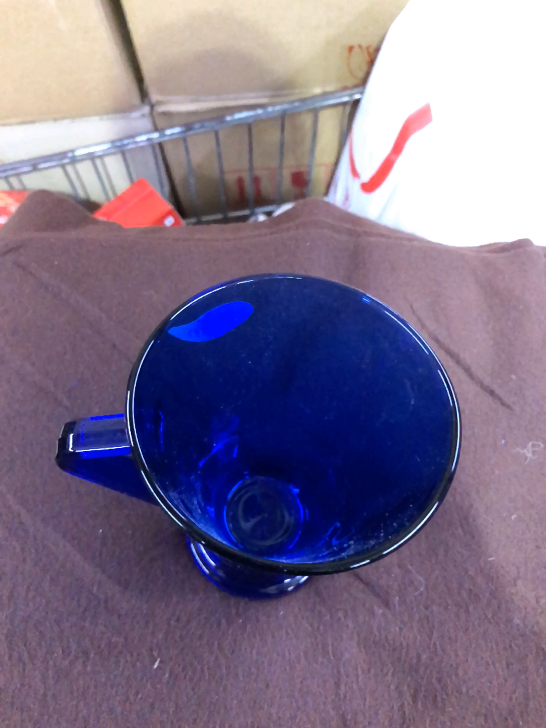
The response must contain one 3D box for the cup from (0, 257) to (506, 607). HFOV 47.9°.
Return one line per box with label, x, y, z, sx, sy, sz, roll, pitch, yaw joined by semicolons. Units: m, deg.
cup;-0.007;0.032;0.193;0.110;0.110;0.070;6;67;-2
